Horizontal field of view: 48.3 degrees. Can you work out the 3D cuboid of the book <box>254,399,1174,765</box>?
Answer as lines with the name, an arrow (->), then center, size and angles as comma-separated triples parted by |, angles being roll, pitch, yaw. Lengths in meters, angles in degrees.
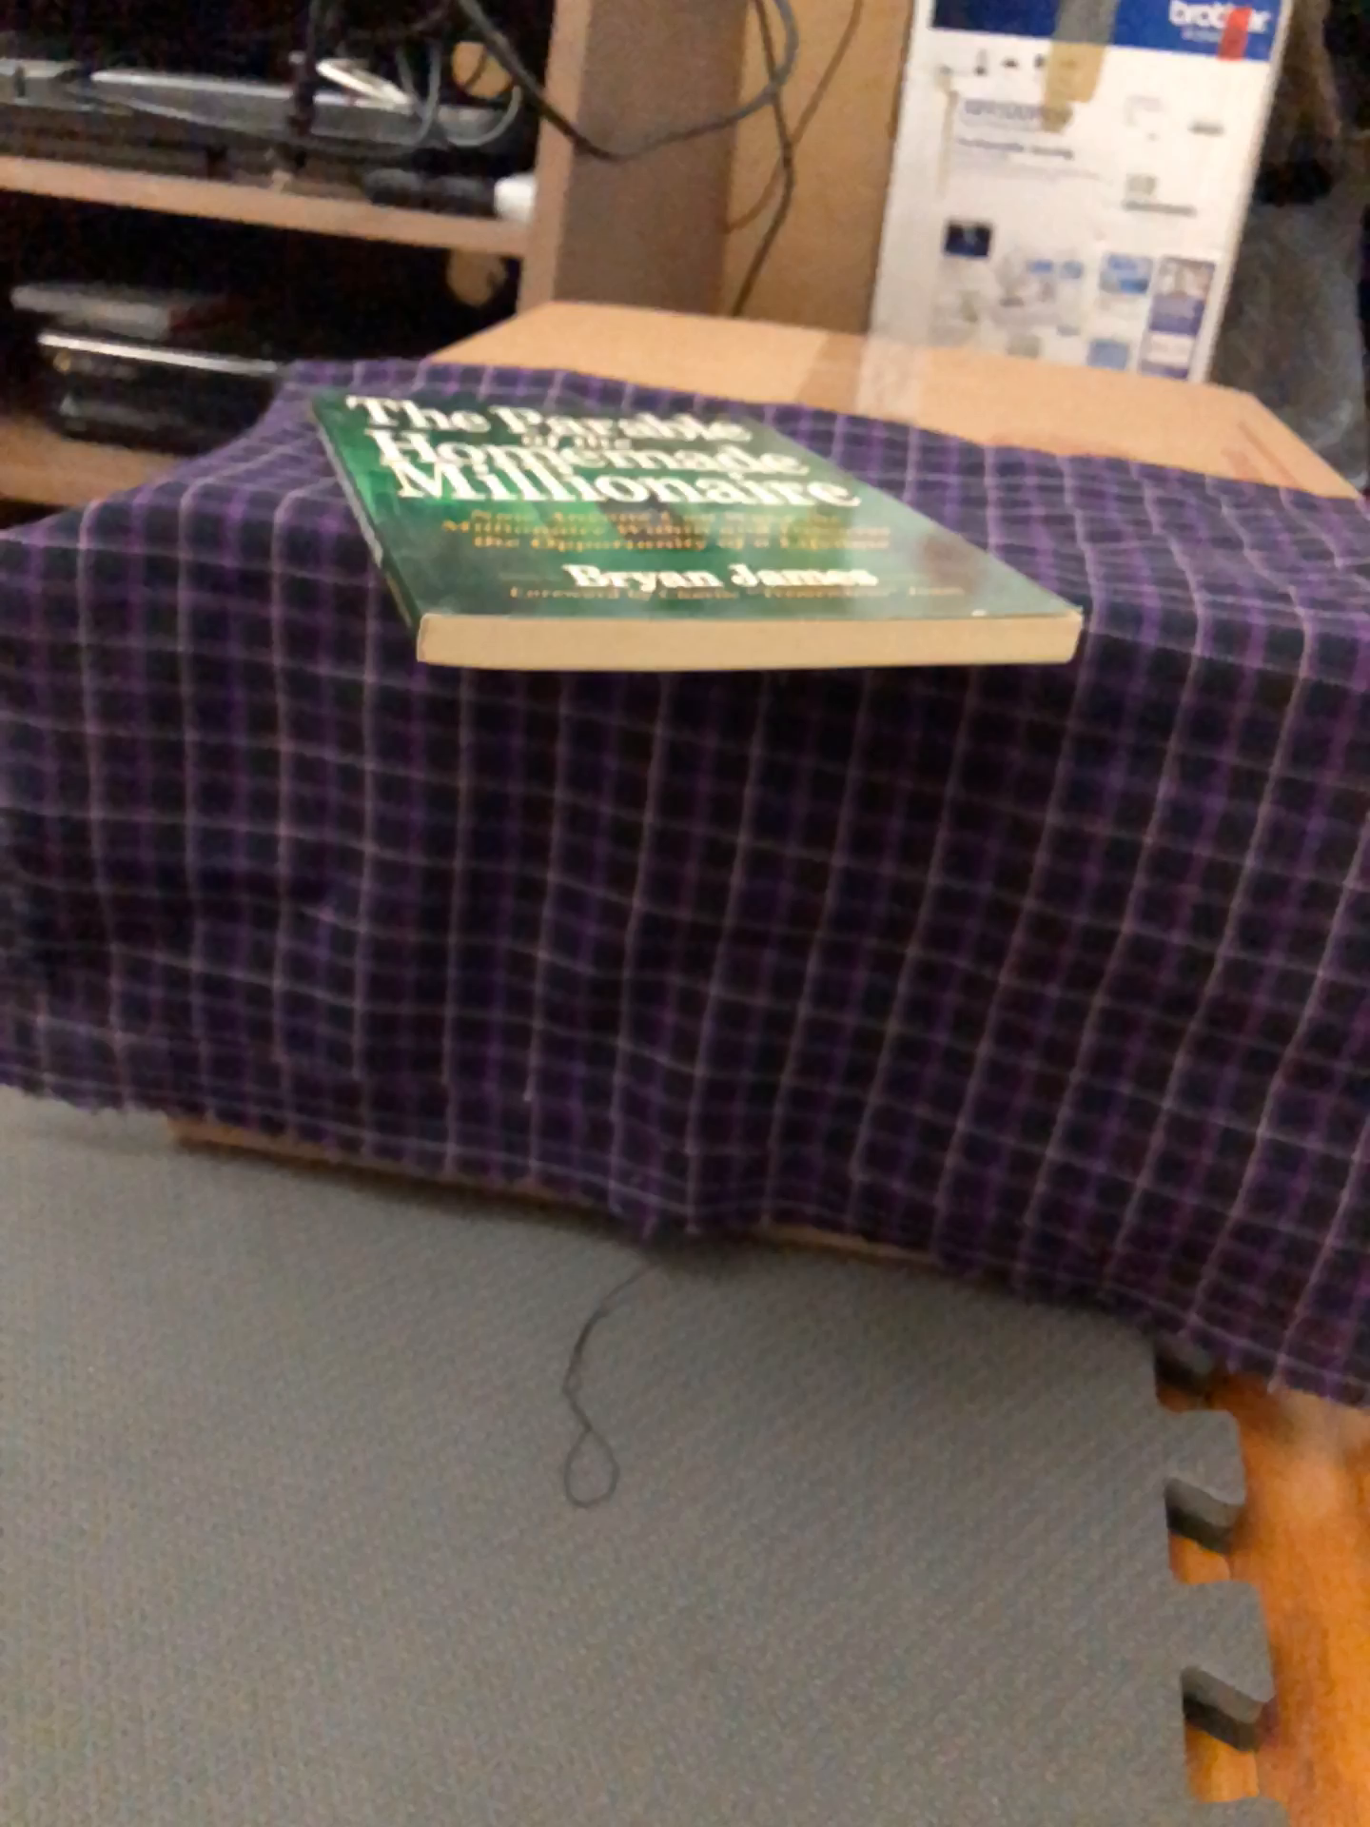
book -> -0.013, -0.089, 0.366 | 0.160, 0.020, 0.211 | -4, 30, -18
